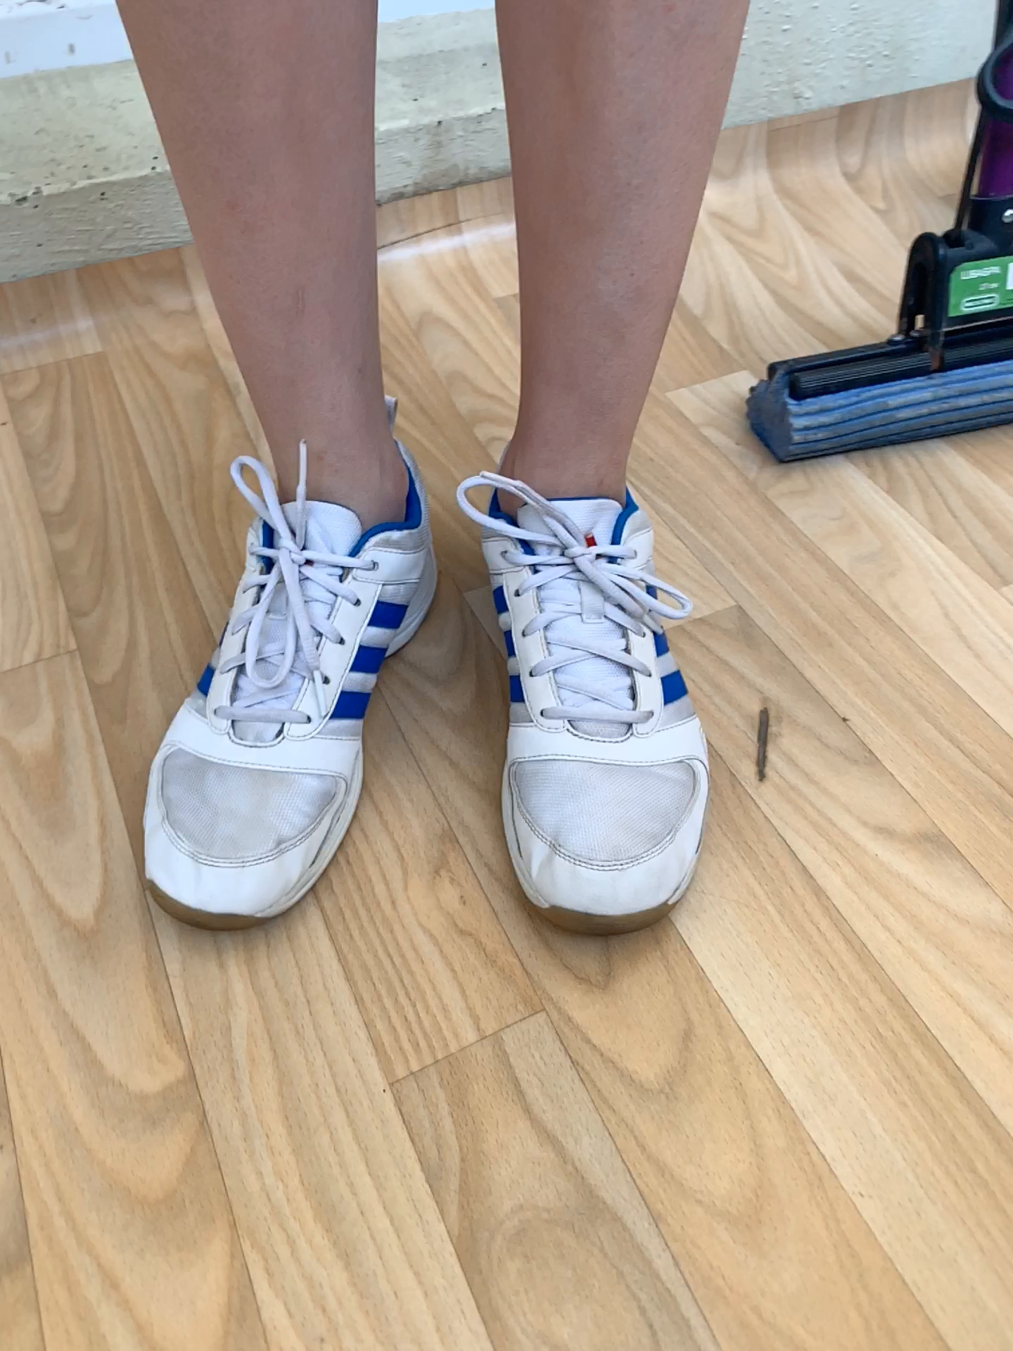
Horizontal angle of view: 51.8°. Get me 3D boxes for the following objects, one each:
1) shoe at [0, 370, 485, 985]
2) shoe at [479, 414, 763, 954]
[{"bbox_3d":[-0.098,-0.014,0.484,0.100,0.120,0.261,12,48,11],"label":"shoe"},{"bbox_3d":[0.042,-0.011,0.489,0.100,0.090,0.261,1,47,0],"label":"shoe"}]
